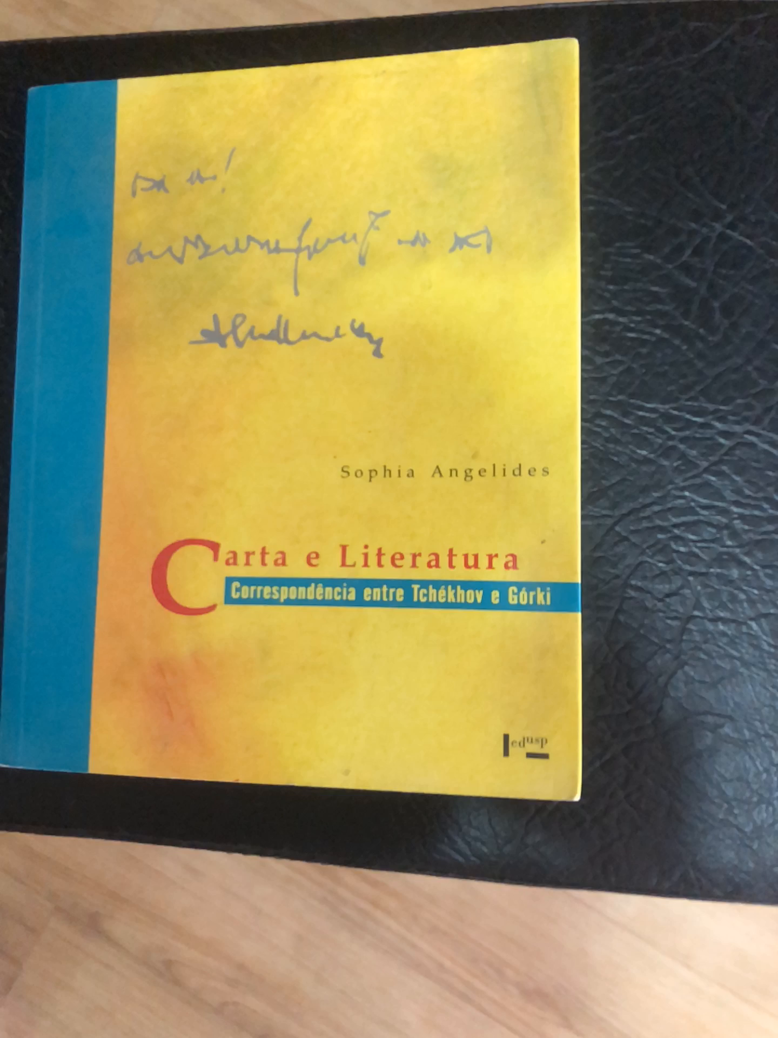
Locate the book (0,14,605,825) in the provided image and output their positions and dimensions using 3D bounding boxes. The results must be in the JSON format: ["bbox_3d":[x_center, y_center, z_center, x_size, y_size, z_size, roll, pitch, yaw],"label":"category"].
[{"bbox_3d":[-0.028,-0.028,0.249,0.173,0.024,0.208,0,86,11],"label":"book"}]
